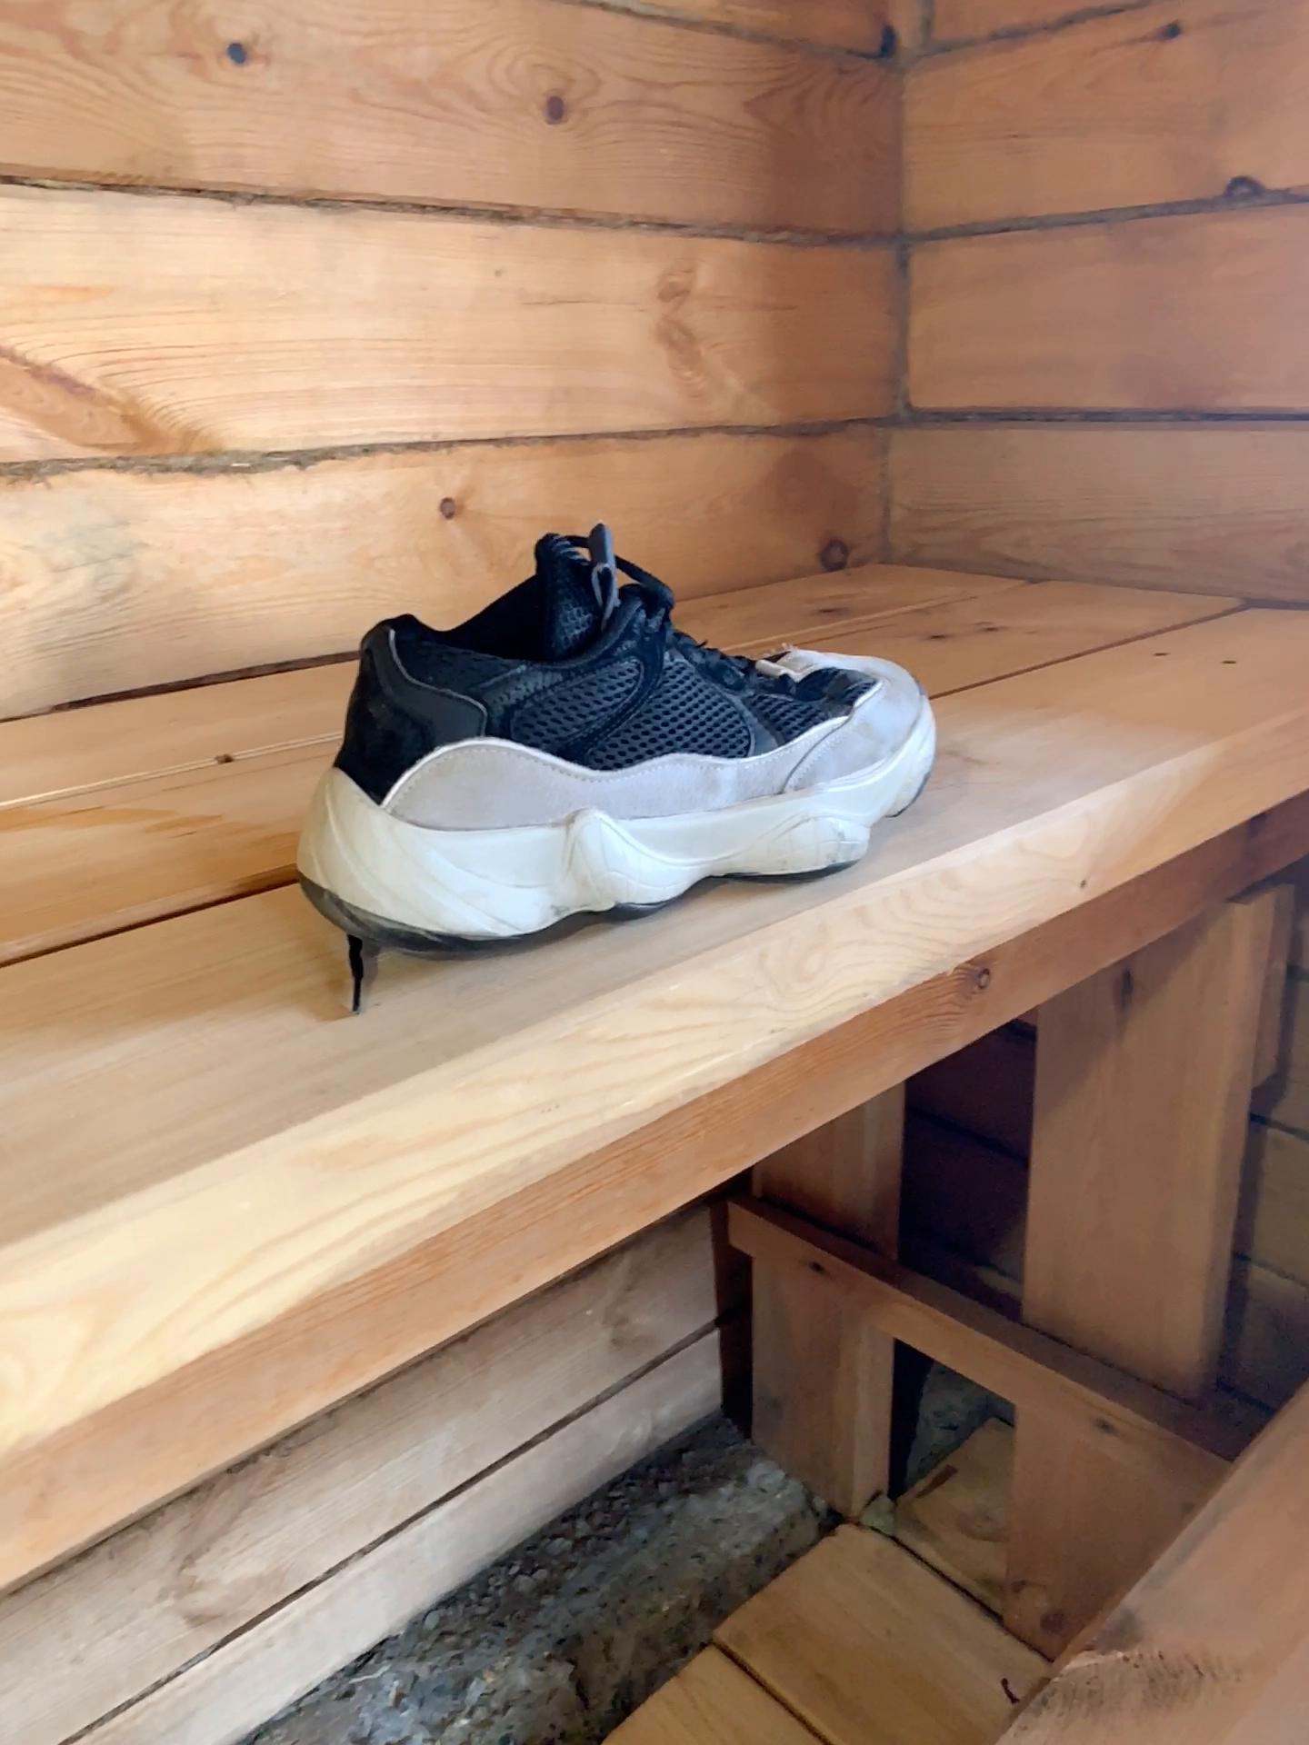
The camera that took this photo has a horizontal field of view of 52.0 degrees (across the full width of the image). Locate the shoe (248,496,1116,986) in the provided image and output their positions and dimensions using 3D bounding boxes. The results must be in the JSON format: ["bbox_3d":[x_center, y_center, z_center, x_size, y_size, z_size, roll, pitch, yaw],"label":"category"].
[{"bbox_3d":[0.017,-0.064,0.466,0.271,0.109,0.121,-13,22,-31],"label":"shoe"}]
